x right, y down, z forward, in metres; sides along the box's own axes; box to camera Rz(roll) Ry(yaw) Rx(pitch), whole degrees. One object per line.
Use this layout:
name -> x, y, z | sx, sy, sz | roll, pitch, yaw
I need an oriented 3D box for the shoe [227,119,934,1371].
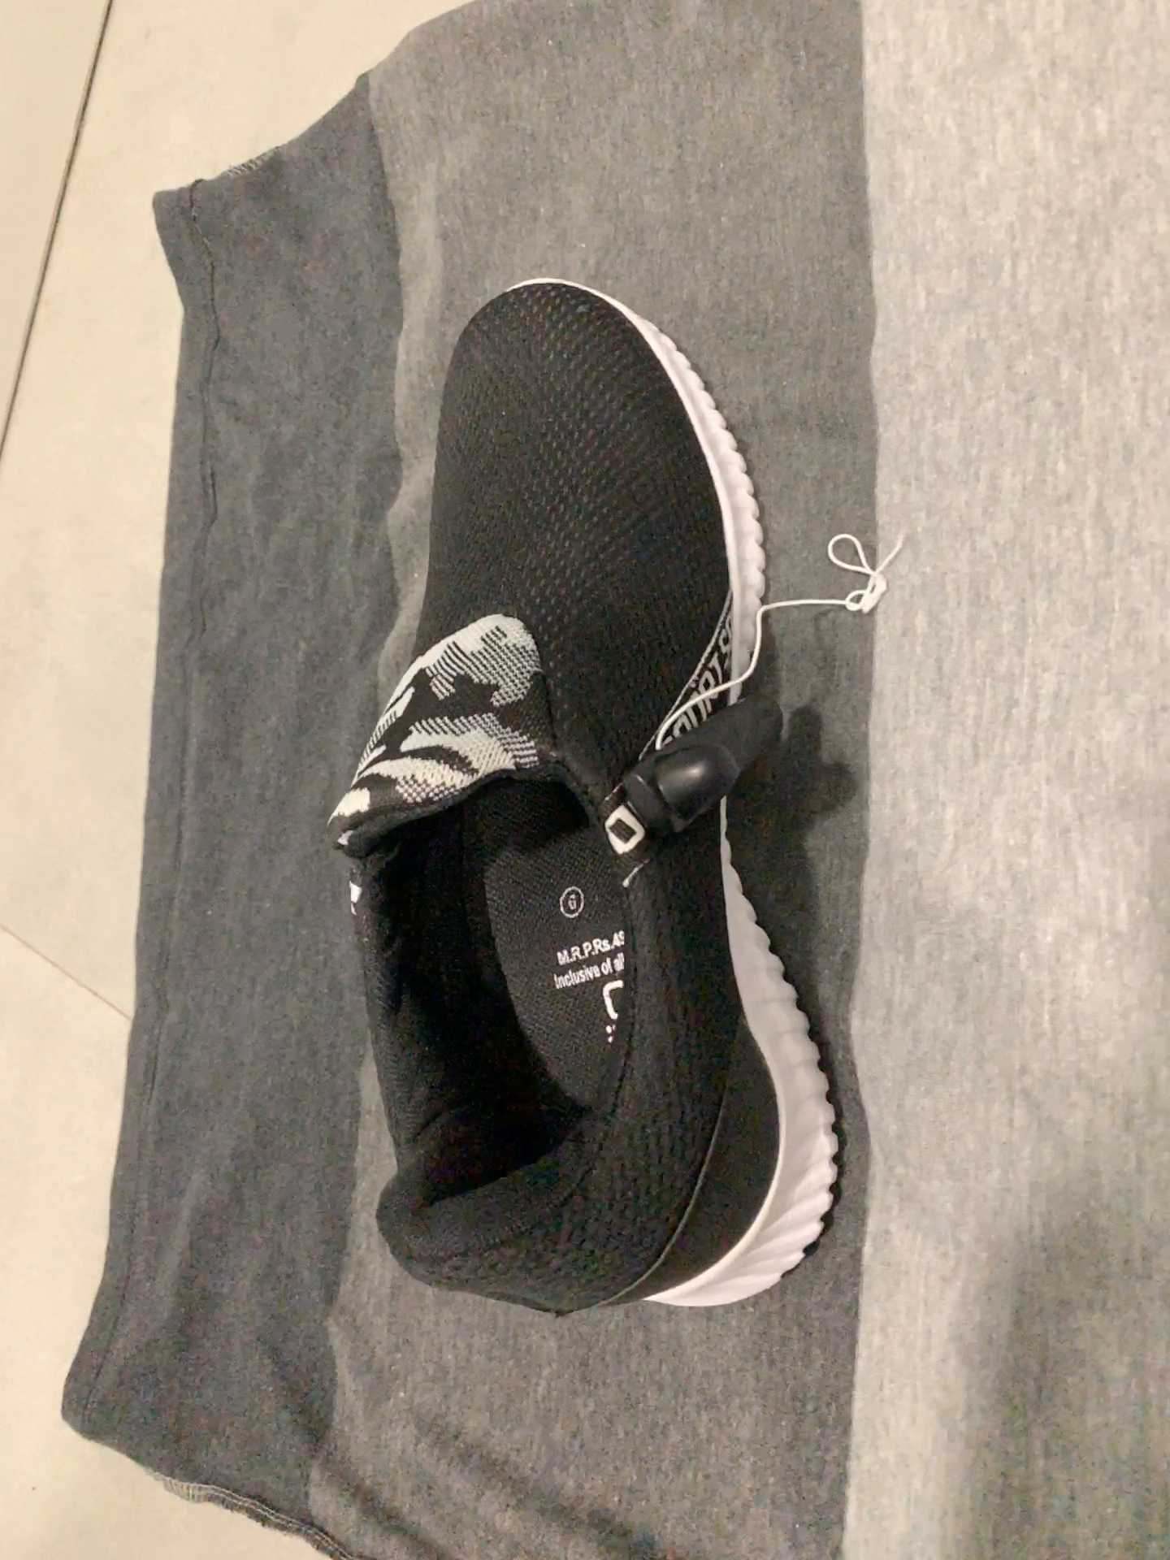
shoe -> -0.006, -0.003, 0.288 | 0.100, 0.100, 0.240 | -17, 73, 34
